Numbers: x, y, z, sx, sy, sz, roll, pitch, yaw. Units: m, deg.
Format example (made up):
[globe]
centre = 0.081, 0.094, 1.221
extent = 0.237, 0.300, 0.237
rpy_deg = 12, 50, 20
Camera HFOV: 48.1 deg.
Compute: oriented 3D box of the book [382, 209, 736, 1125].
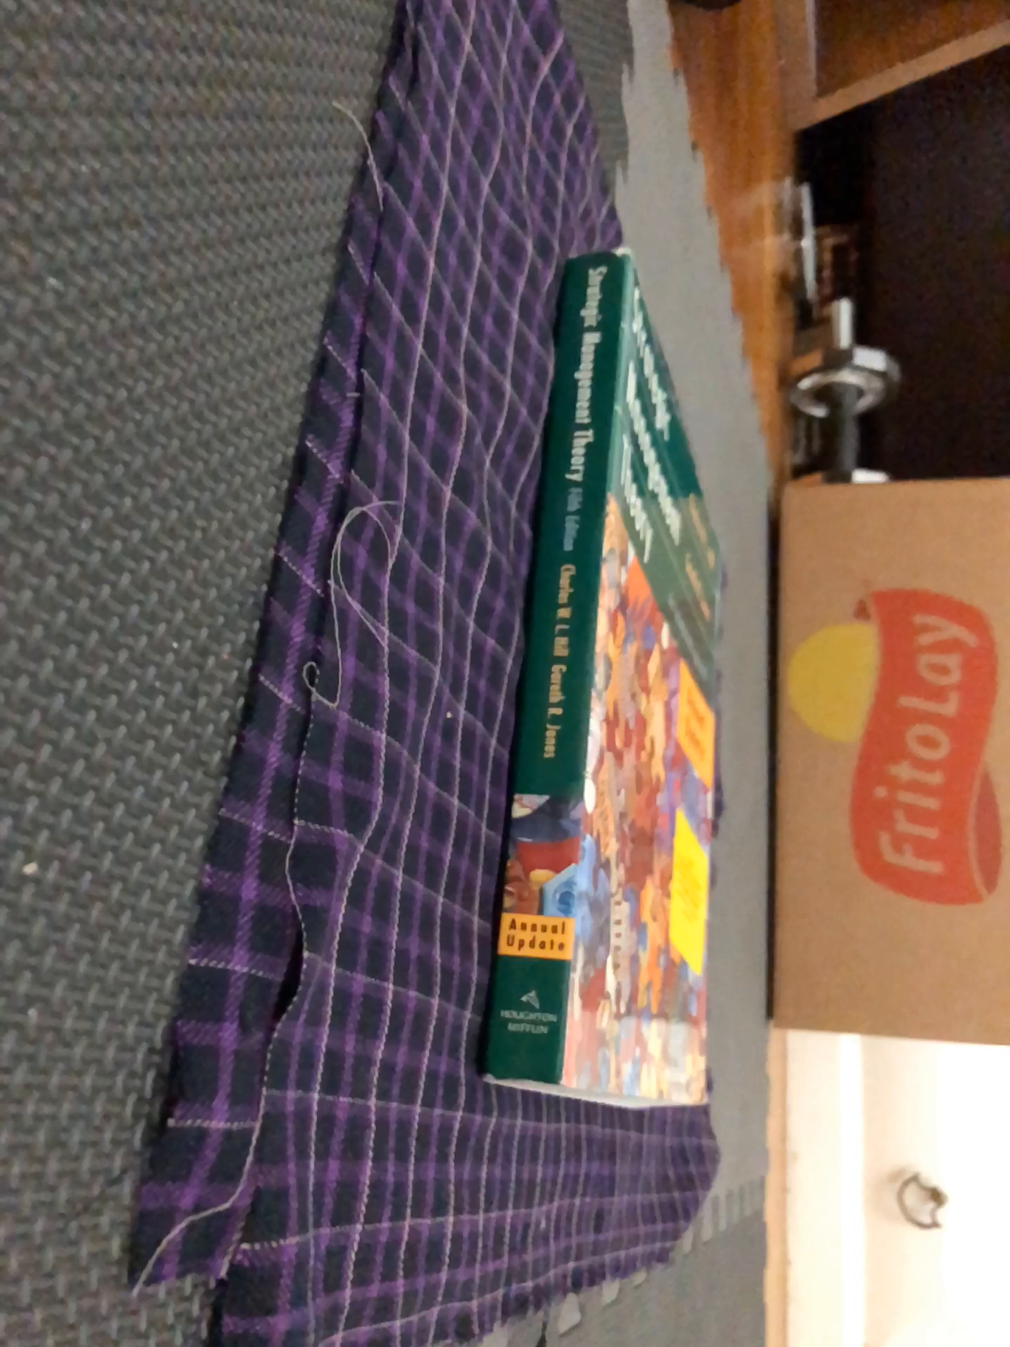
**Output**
[book]
centre = 0.043, 0.018, 0.436
extent = 0.231, 0.040, 0.280
rpy_deg = 49, 45, -60
